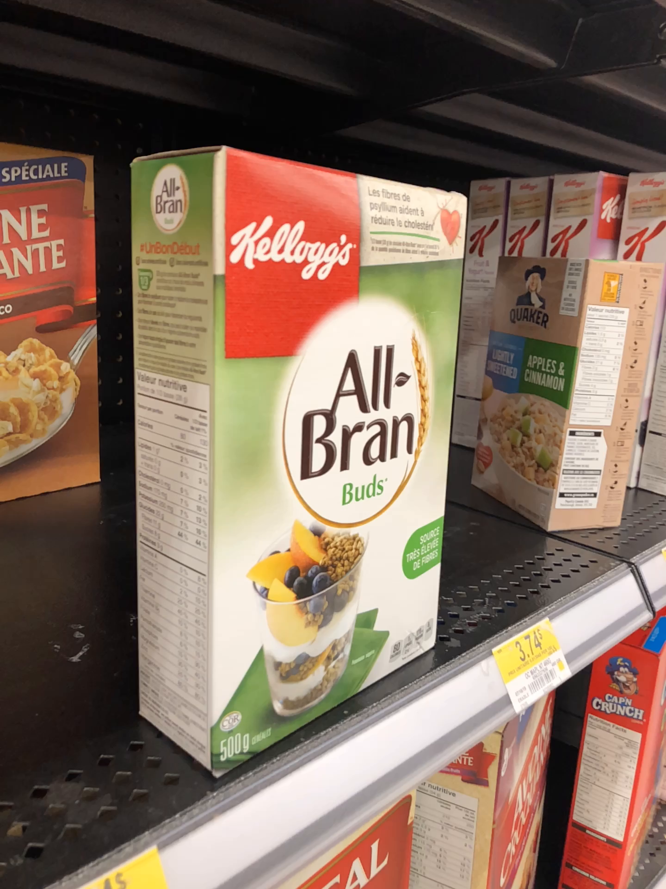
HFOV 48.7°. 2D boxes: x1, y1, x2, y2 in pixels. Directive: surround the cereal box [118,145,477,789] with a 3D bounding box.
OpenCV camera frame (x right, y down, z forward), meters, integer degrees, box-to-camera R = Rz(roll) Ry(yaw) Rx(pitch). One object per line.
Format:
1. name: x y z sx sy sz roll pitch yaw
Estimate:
1. cereal box: -0.011 0.002 0.313 0.050 0.219 0.150 14 17 40
